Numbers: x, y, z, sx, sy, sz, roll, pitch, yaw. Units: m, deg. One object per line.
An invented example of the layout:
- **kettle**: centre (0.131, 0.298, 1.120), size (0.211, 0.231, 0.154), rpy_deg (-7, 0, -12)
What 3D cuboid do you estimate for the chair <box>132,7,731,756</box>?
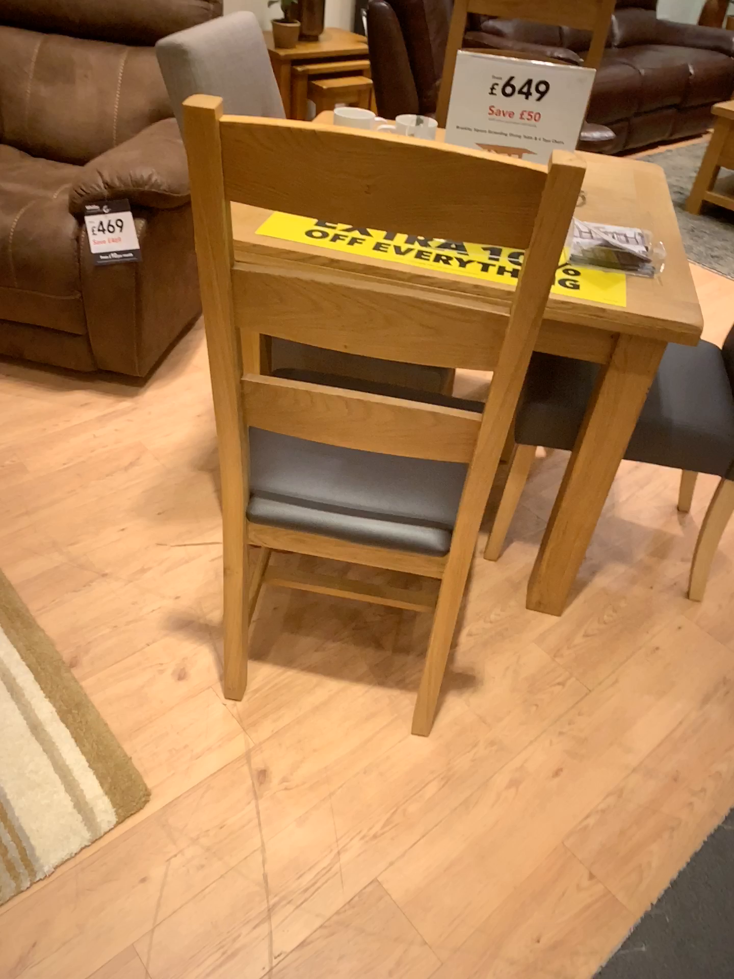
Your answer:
- **chair**: centre (0.035, -0.138, 1.209), size (0.554, 0.958, 0.582), rpy_deg (10, 39, 1)
